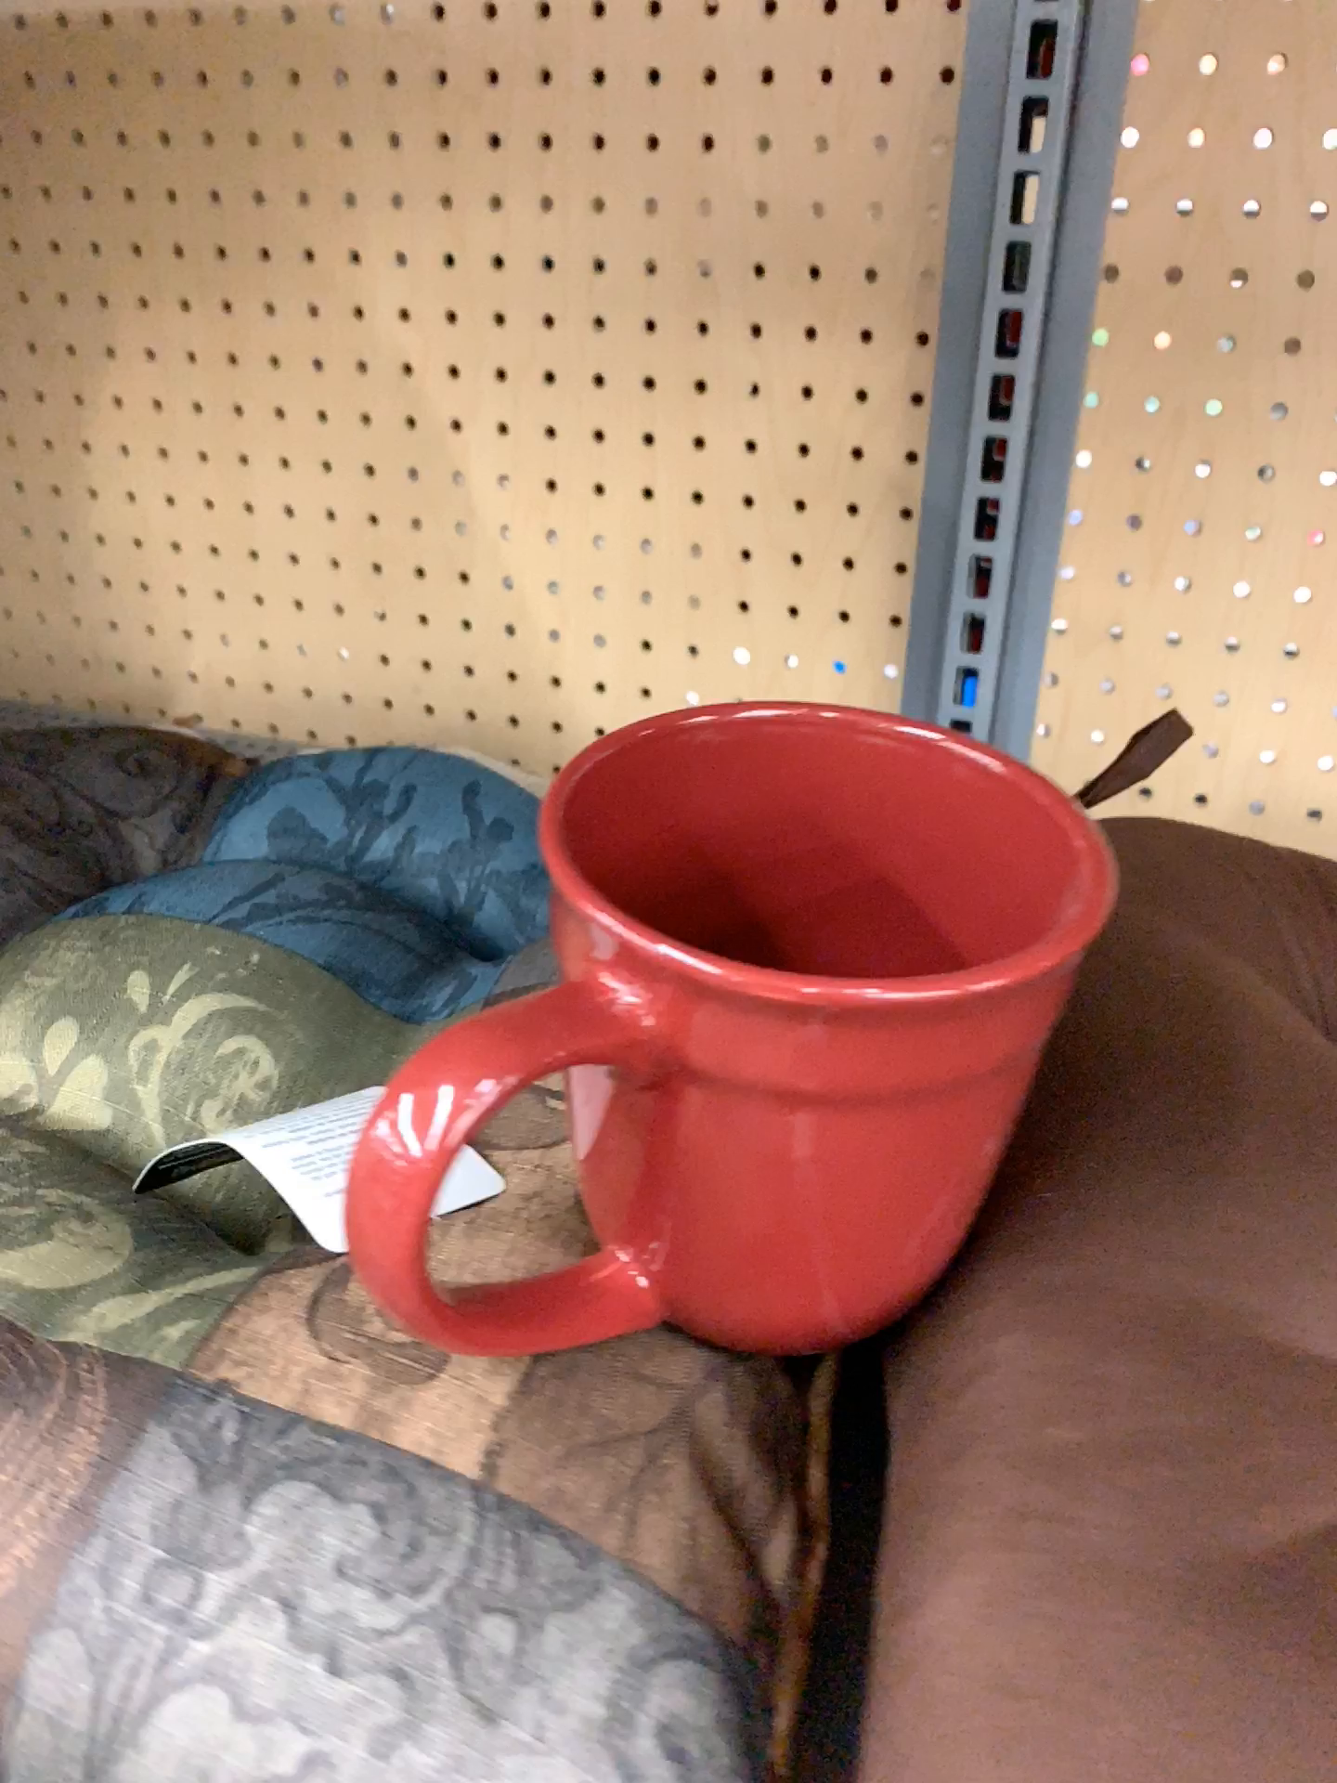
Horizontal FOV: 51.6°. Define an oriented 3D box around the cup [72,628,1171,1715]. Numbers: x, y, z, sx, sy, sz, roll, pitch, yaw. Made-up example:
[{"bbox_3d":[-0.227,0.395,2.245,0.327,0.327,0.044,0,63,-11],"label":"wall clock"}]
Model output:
[{"bbox_3d":[-0.002,0.030,0.245,0.100,0.089,0.150,29,40,32],"label":"cup"}]
